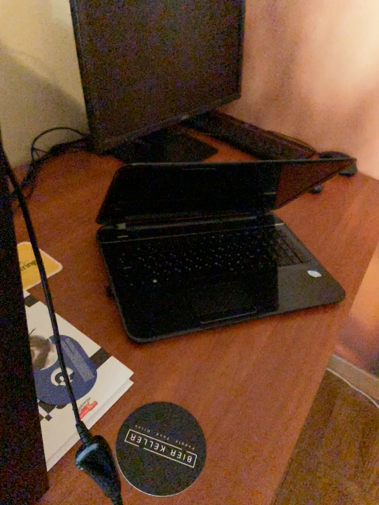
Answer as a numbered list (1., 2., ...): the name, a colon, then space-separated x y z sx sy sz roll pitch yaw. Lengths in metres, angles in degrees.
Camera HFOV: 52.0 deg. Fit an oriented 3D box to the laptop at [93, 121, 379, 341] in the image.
1. laptop: 0.062 -0.057 0.606 0.370 0.194 0.245 -7 42 -23
